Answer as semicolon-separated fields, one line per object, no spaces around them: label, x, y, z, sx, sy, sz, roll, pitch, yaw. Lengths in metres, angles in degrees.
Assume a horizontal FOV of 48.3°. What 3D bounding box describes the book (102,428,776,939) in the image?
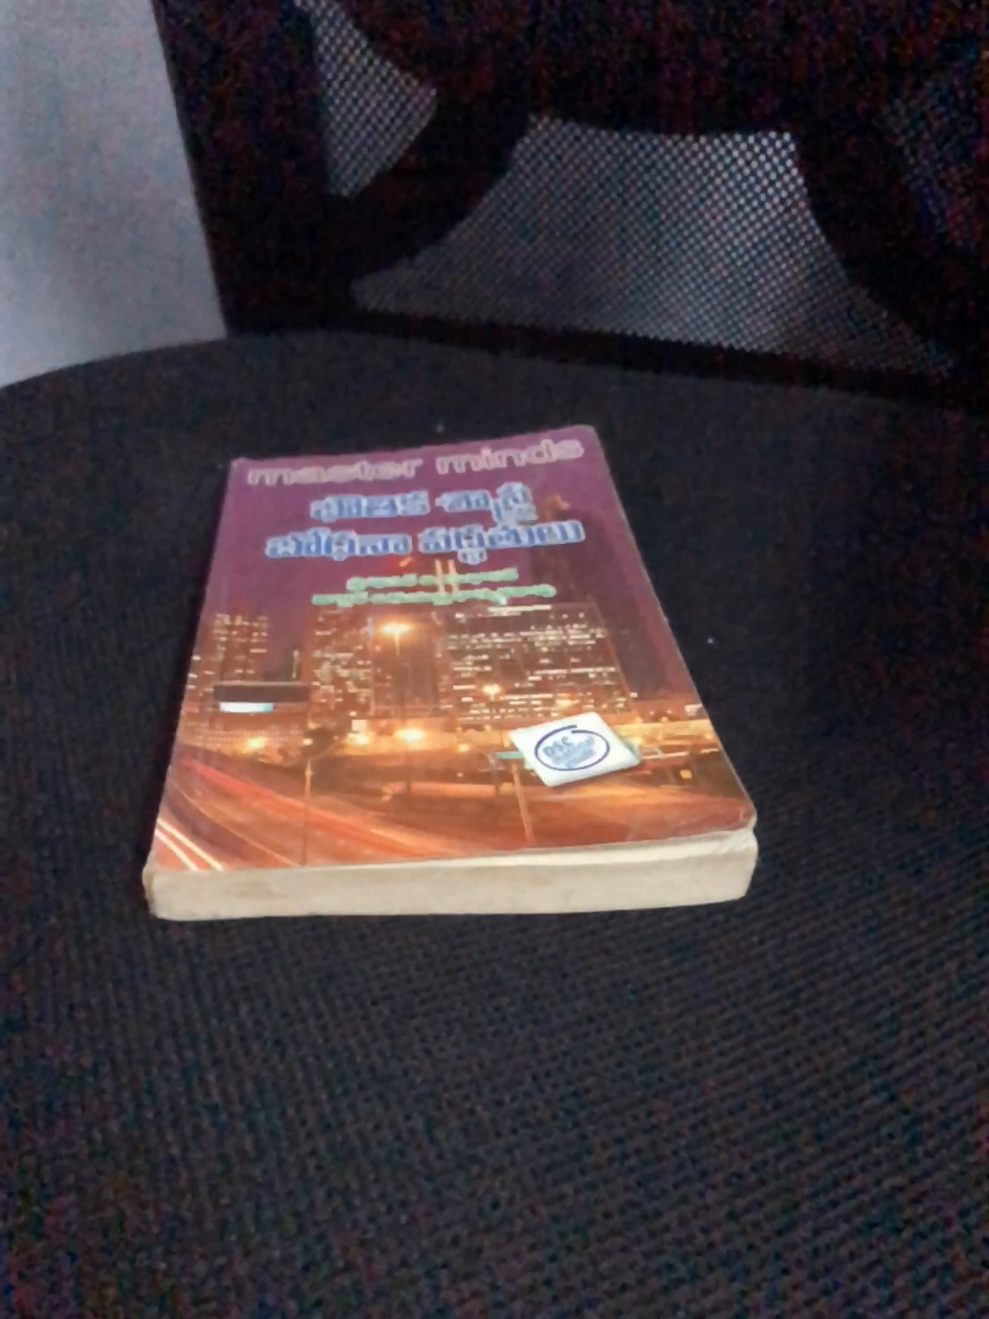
book;-0.023;-0.012;0.334;0.145;0.027;0.219;0;35;-8
